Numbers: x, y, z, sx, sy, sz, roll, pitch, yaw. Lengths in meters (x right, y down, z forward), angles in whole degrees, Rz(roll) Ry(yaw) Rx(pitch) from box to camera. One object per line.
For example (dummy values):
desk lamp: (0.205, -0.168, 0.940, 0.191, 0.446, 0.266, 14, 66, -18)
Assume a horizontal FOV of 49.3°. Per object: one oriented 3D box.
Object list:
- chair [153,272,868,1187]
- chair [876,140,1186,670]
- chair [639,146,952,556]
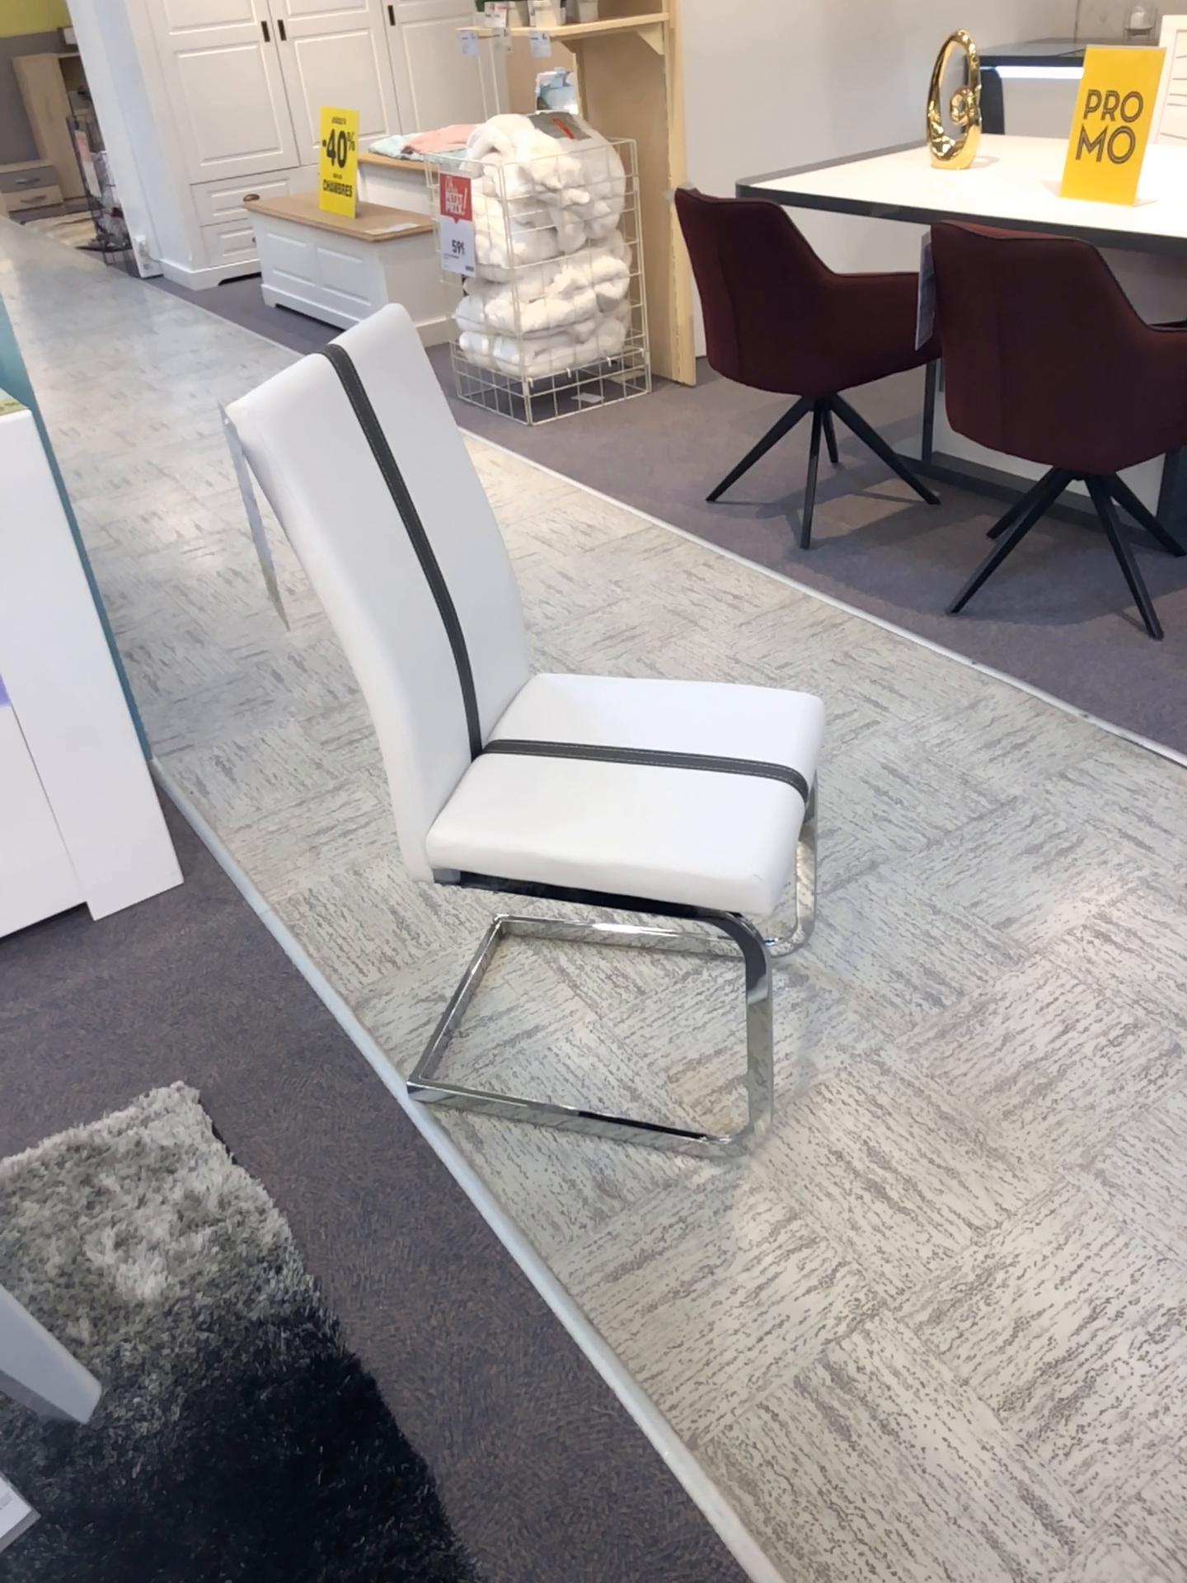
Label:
chair: (-0.012, -0.080, 1.505, 0.569, 0.878, 0.490, 6, 35, 18)
chair: (1.096, -0.877, 2.824, 0.637, 0.878, 0.693, 24, 43, 38)
chair: (0.542, -1.207, 3.502, 0.571, 0.878, 0.538, -25, 37, -27)
